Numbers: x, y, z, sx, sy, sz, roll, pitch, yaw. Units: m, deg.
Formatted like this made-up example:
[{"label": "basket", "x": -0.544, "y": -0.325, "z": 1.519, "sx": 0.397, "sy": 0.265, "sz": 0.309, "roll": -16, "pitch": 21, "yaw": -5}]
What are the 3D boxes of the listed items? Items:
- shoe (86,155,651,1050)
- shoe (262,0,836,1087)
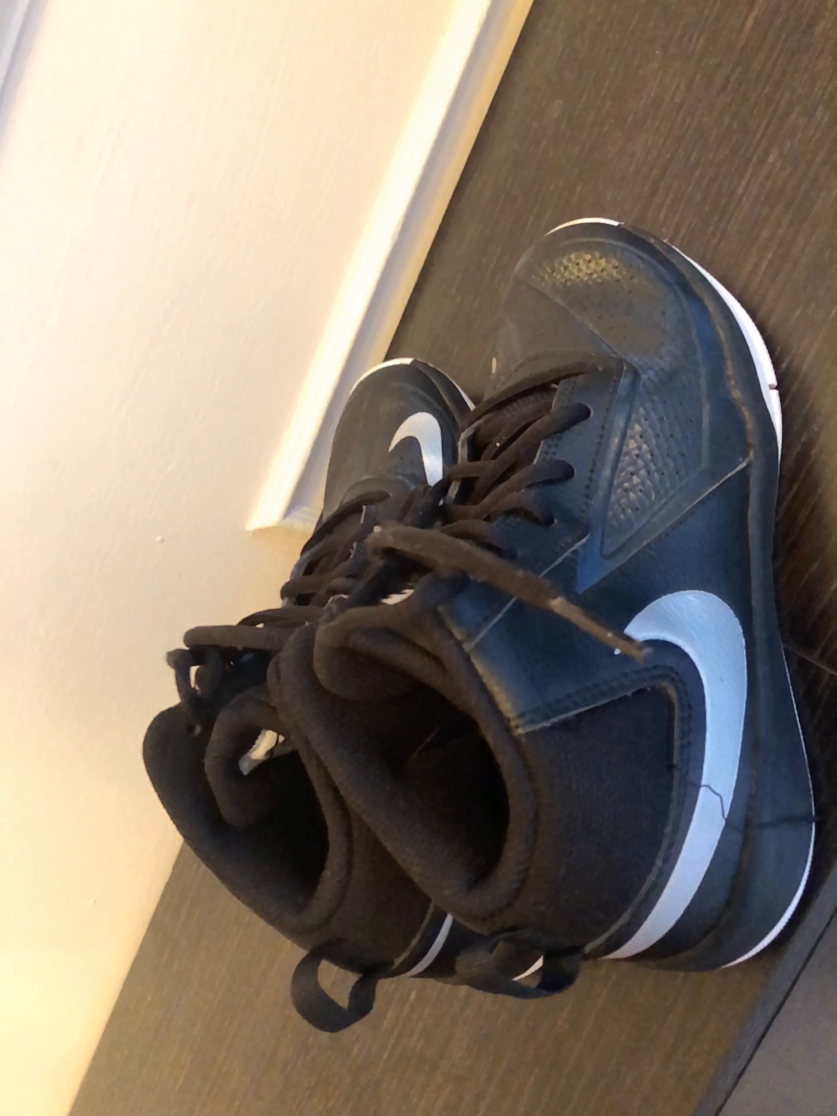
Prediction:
[{"label": "shoe", "x": -0.029, "y": 0.014, "z": 0.324, "sx": 0.100, "sy": 0.129, "sz": 0.261, "roll": -33, "pitch": 55, "yaw": 40}, {"label": "shoe", "x": 0.040, "y": -0.010, "z": 0.256, "sx": 0.100, "sy": 0.129, "sz": 0.251, "roll": -26, "pitch": 59, "yaw": 43}]
